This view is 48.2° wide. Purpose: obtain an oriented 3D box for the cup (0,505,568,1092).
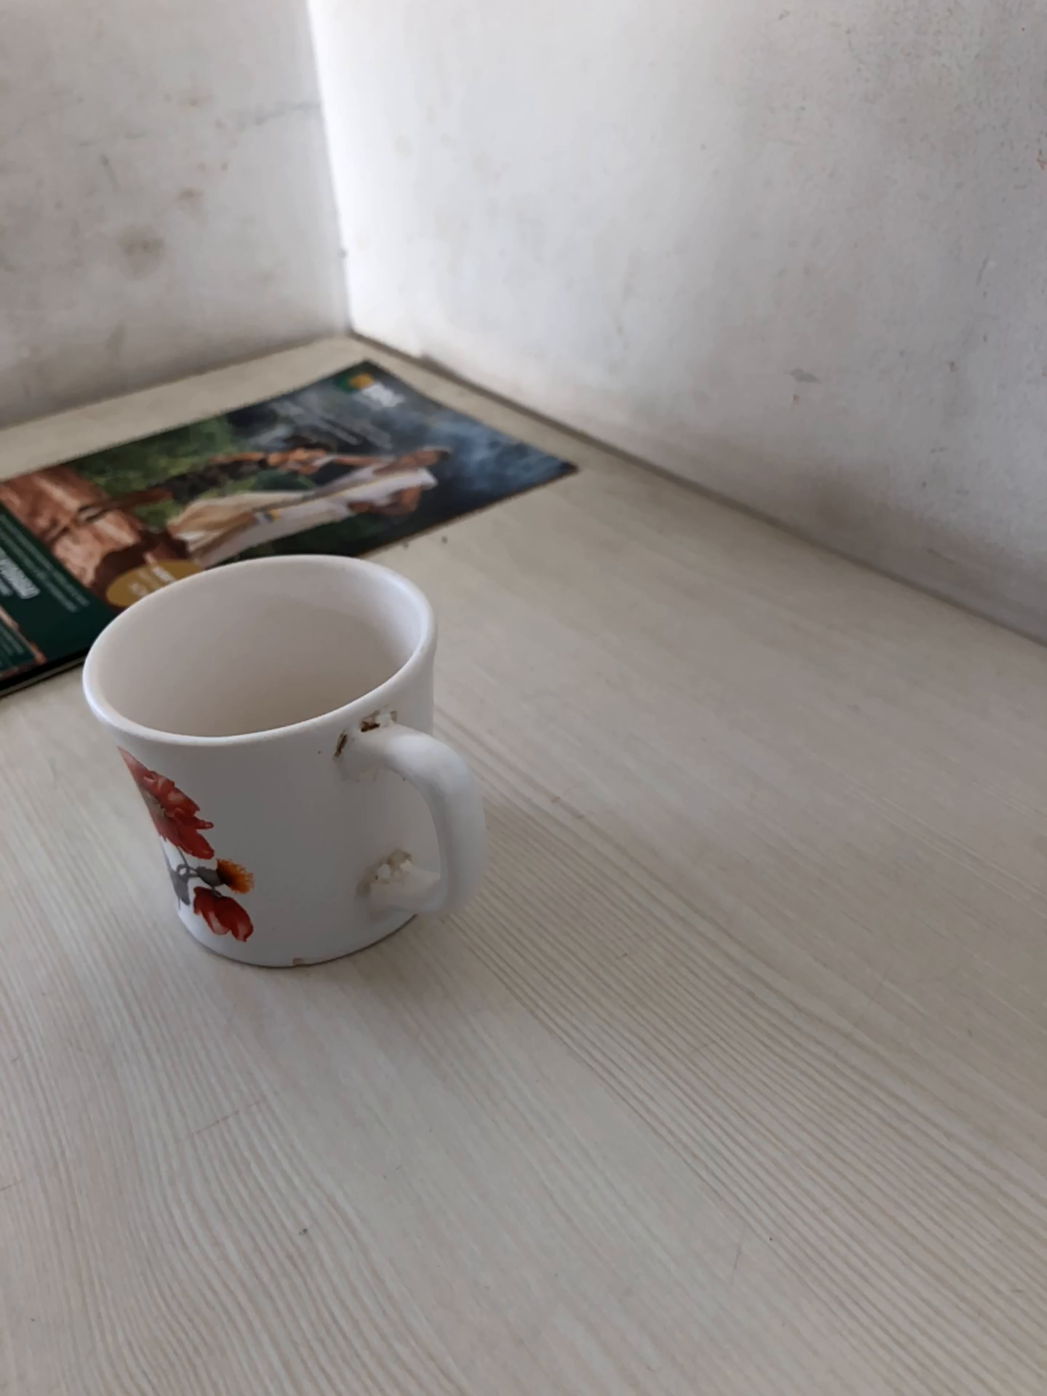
[{"bbox_3d":[-0.049,0.014,0.247,0.090,0.070,0.070,22,42,33],"label":"cup"}]
